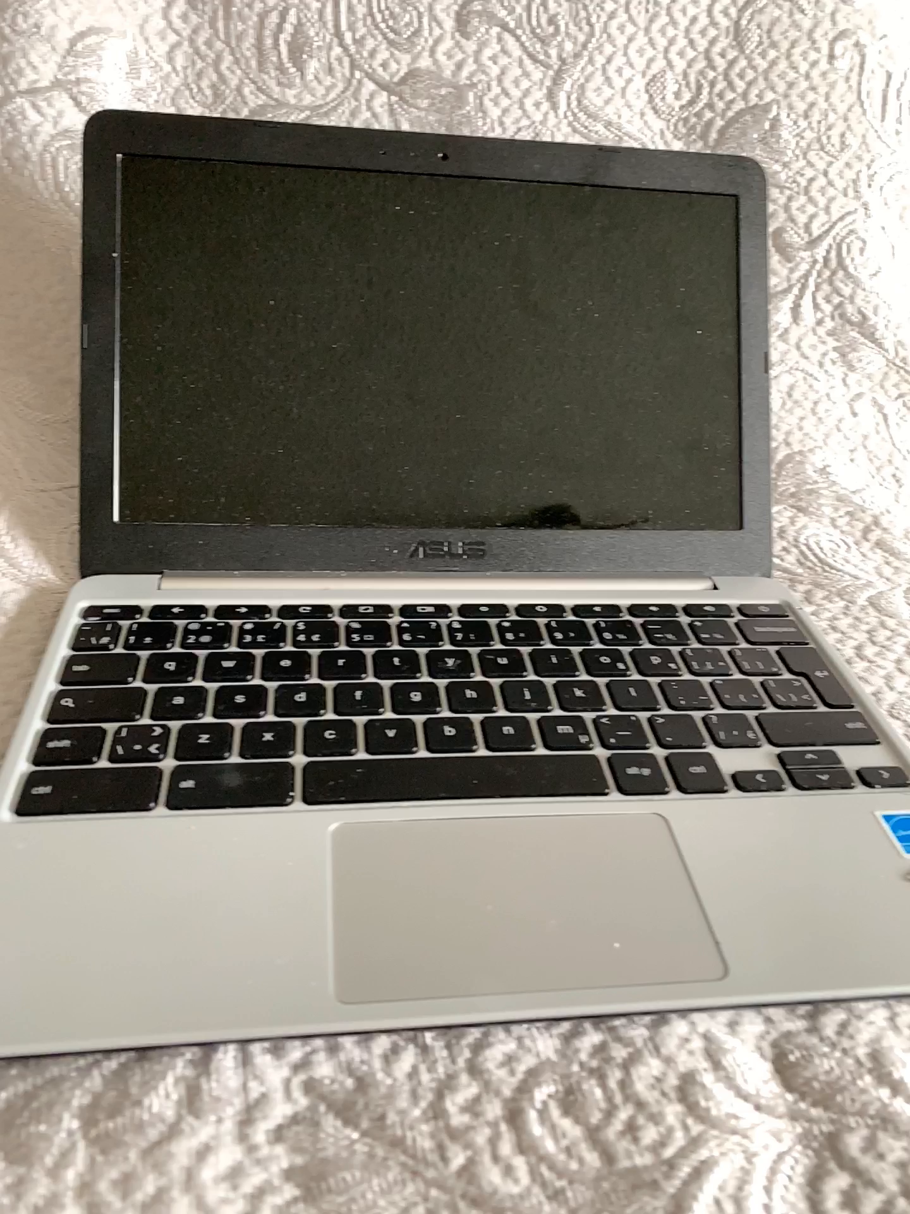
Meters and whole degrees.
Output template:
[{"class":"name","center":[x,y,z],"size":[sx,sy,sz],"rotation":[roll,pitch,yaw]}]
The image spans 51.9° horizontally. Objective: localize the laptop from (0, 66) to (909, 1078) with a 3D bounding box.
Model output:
[{"class":"laptop","center":[0.009,-0.045,0.306],"size":[0.288,0.127,0.288],"rotation":[1,40,-16]}]
